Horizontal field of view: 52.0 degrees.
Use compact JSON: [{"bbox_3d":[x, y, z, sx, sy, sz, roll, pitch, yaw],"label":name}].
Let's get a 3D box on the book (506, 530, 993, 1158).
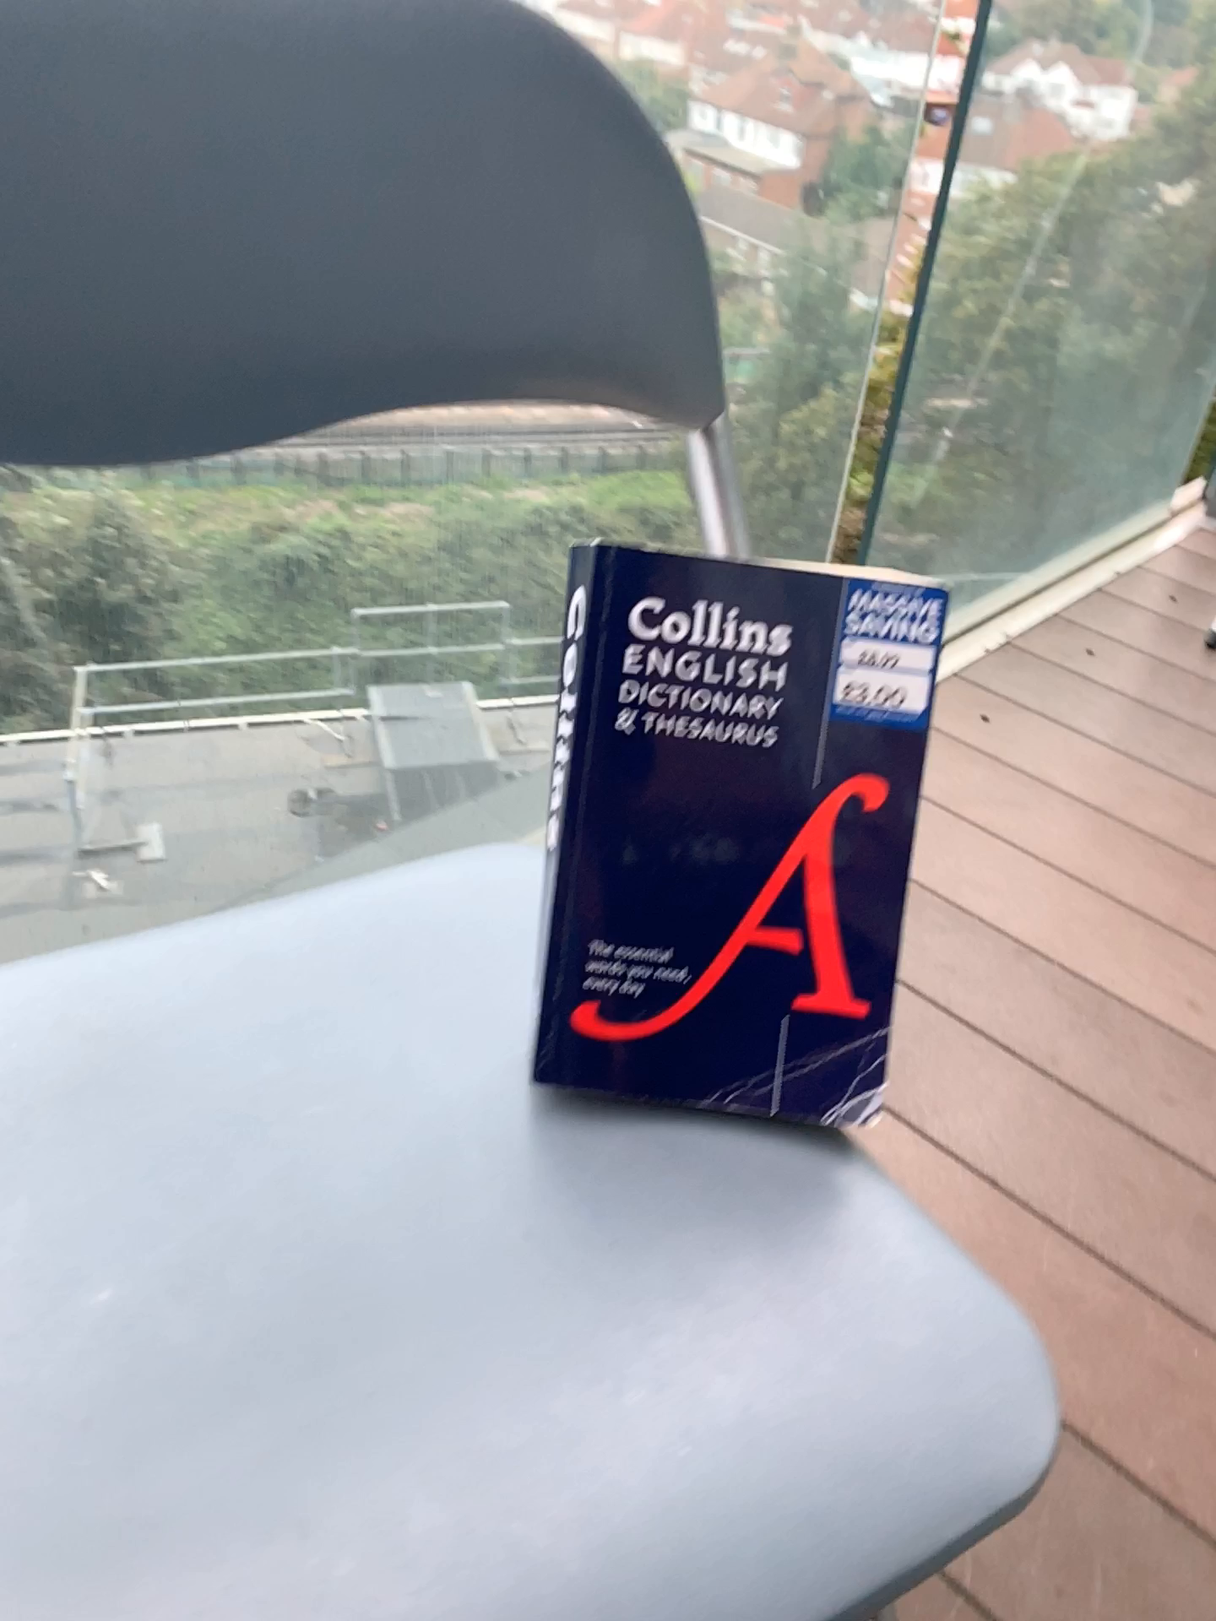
[{"bbox_3d":[0.046,0.010,0.450,0.140,0.199,0.060,6,8,1],"label":"book"}]
